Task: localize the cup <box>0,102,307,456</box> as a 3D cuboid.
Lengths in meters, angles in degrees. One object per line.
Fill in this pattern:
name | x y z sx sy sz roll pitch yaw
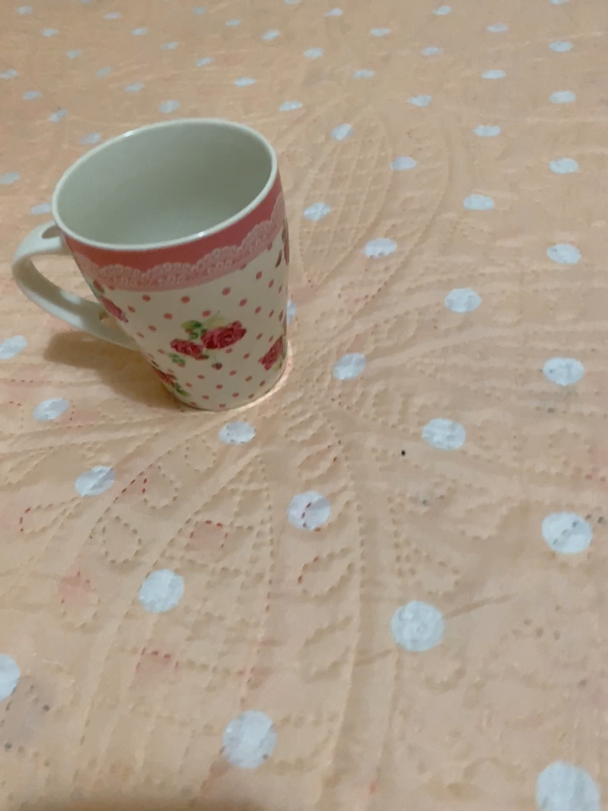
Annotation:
cup | -0.065 -0.049 0.264 0.120 0.100 0.090 -5 50 6
